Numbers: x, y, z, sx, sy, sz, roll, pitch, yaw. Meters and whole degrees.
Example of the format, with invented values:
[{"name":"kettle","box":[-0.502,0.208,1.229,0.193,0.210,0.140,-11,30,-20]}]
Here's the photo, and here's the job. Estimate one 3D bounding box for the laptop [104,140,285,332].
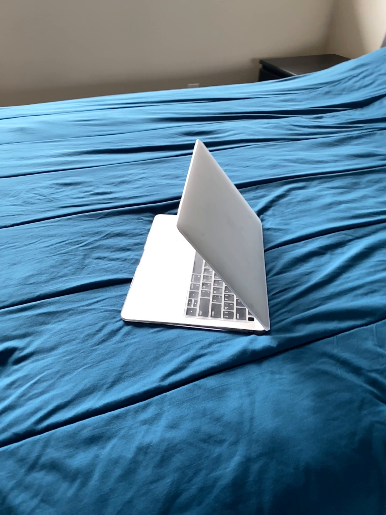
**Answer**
[{"name":"laptop","box":[0.015,-0.055,0.632,0.215,0.161,0.297,4,36,4]}]
